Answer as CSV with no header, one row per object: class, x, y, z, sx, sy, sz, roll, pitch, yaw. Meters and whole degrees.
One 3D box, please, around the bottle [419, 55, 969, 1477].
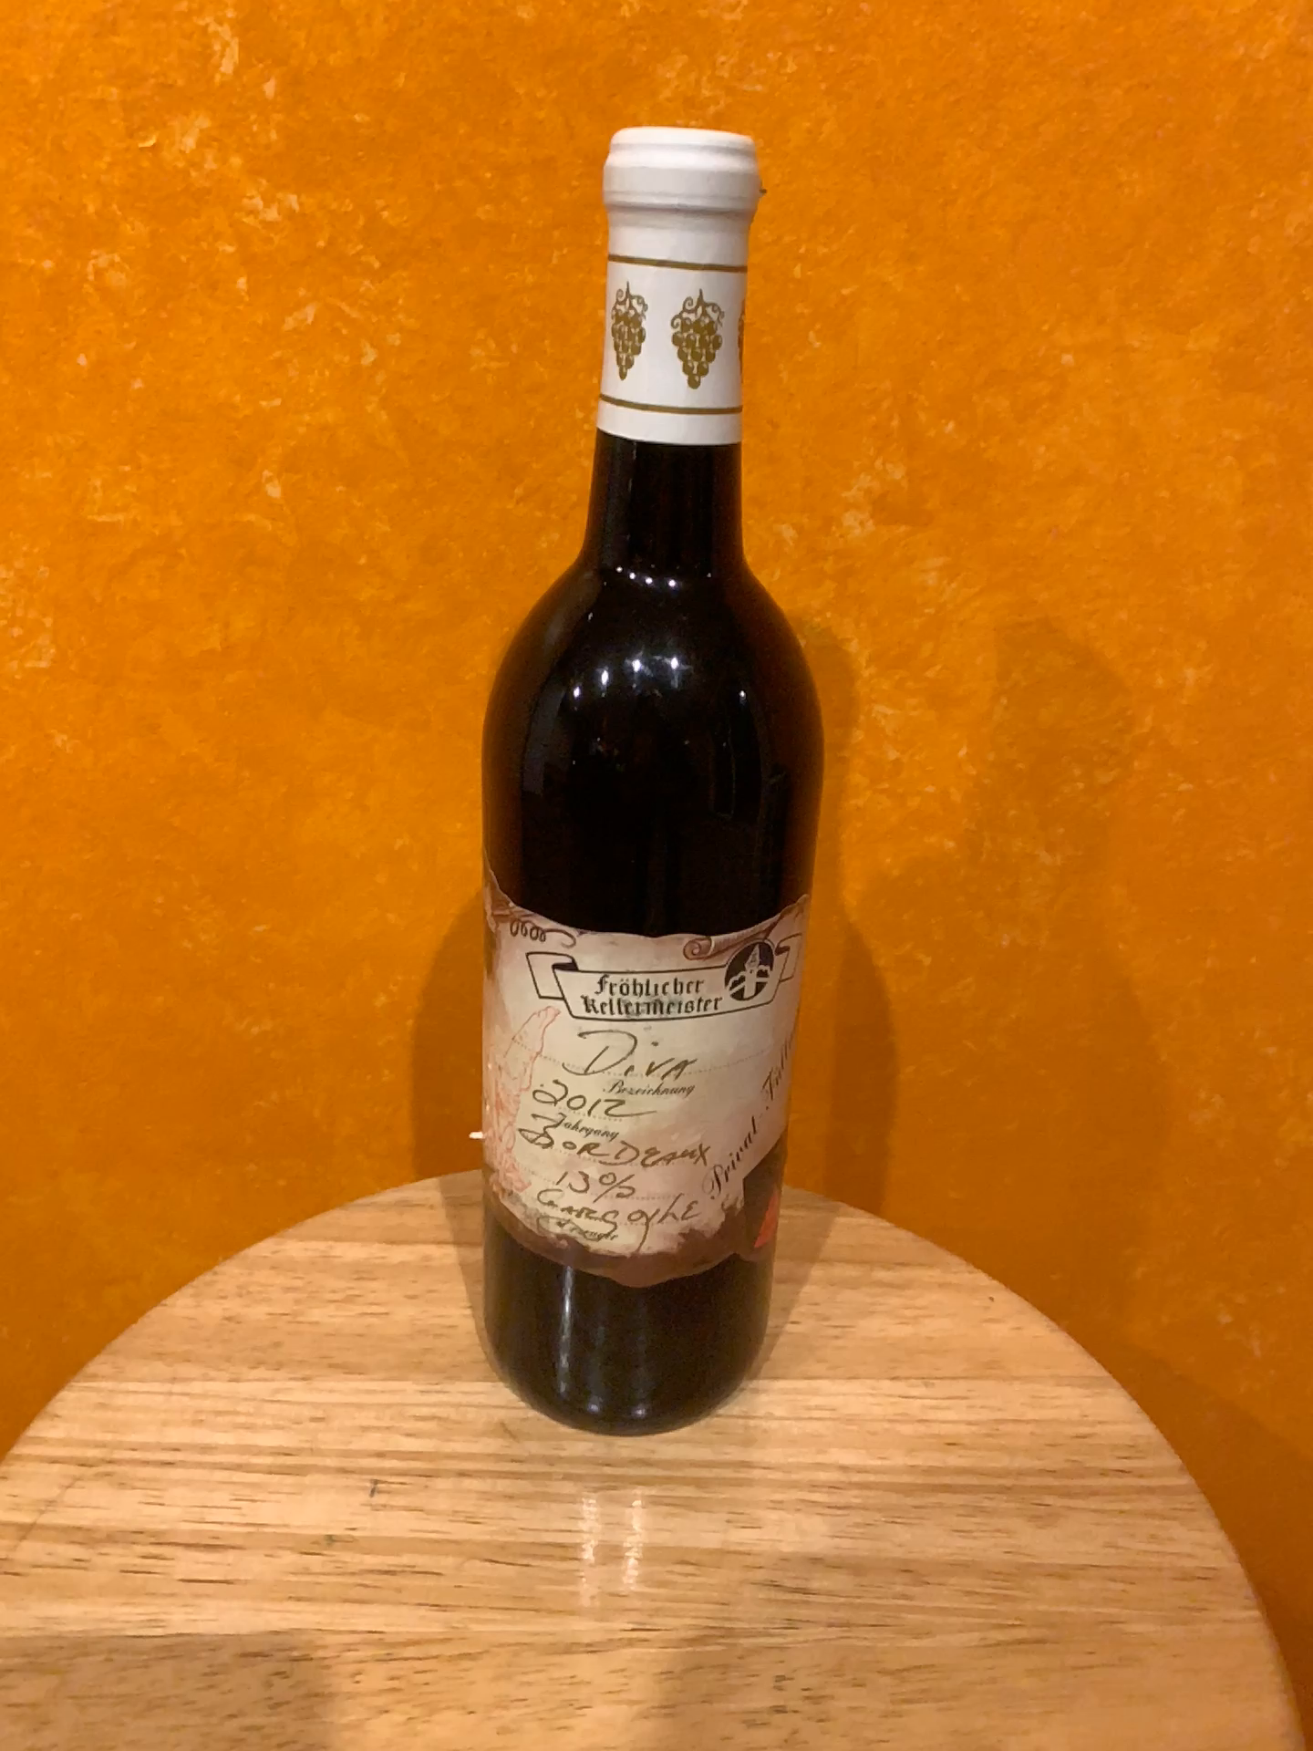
bottle,-0.001,-0.003,0.292,0.080,0.289,0.070,3,26,-1
